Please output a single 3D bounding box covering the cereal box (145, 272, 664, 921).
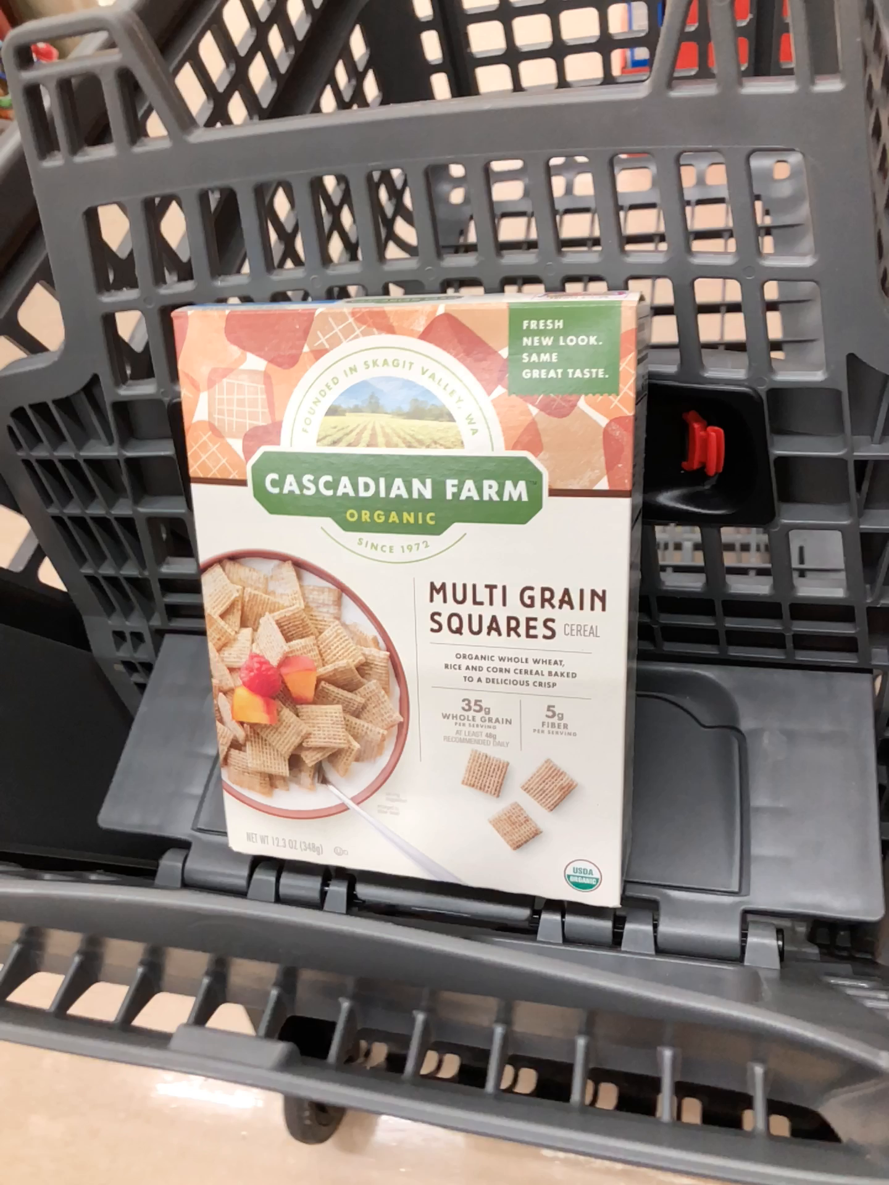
[{"bbox_3d":[-0.011,0.001,0.433,0.200,0.260,0.060,3,18,17],"label":"cereal box"}]
